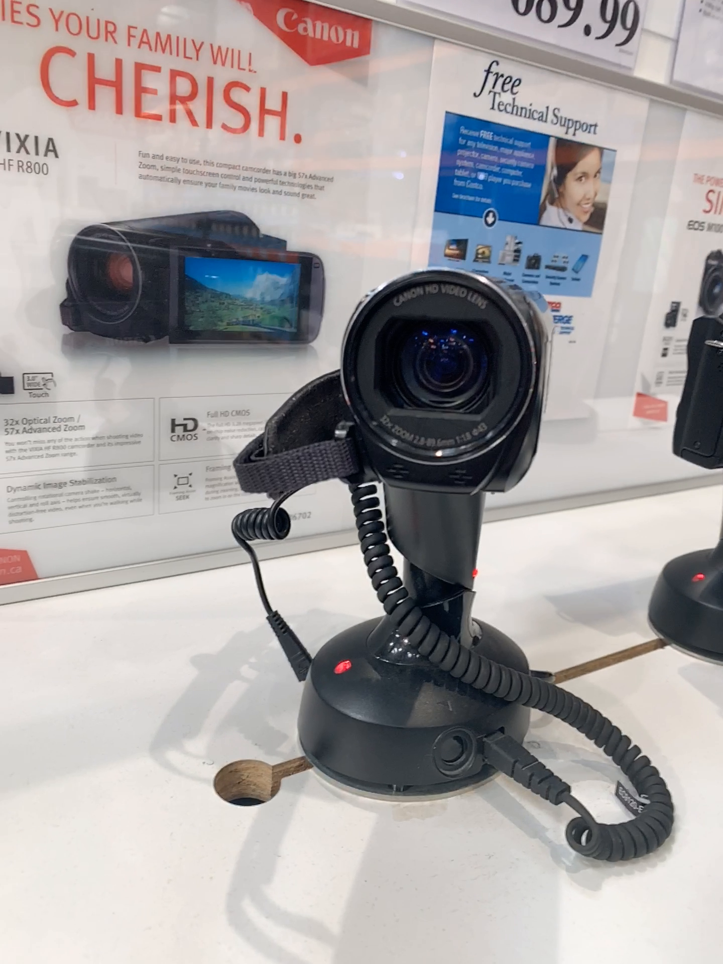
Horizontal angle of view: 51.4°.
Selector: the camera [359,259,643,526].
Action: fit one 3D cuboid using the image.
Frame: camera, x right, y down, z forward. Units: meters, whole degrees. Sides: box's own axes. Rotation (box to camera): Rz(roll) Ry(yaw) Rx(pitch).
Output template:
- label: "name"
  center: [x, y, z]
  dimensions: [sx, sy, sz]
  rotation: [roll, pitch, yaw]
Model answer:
- label: "camera"
  center: [0.045, -0.034, 0.227]
  dimensions: [0.058, 0.054, 0.114]
  rotation: [9, 16, 14]
